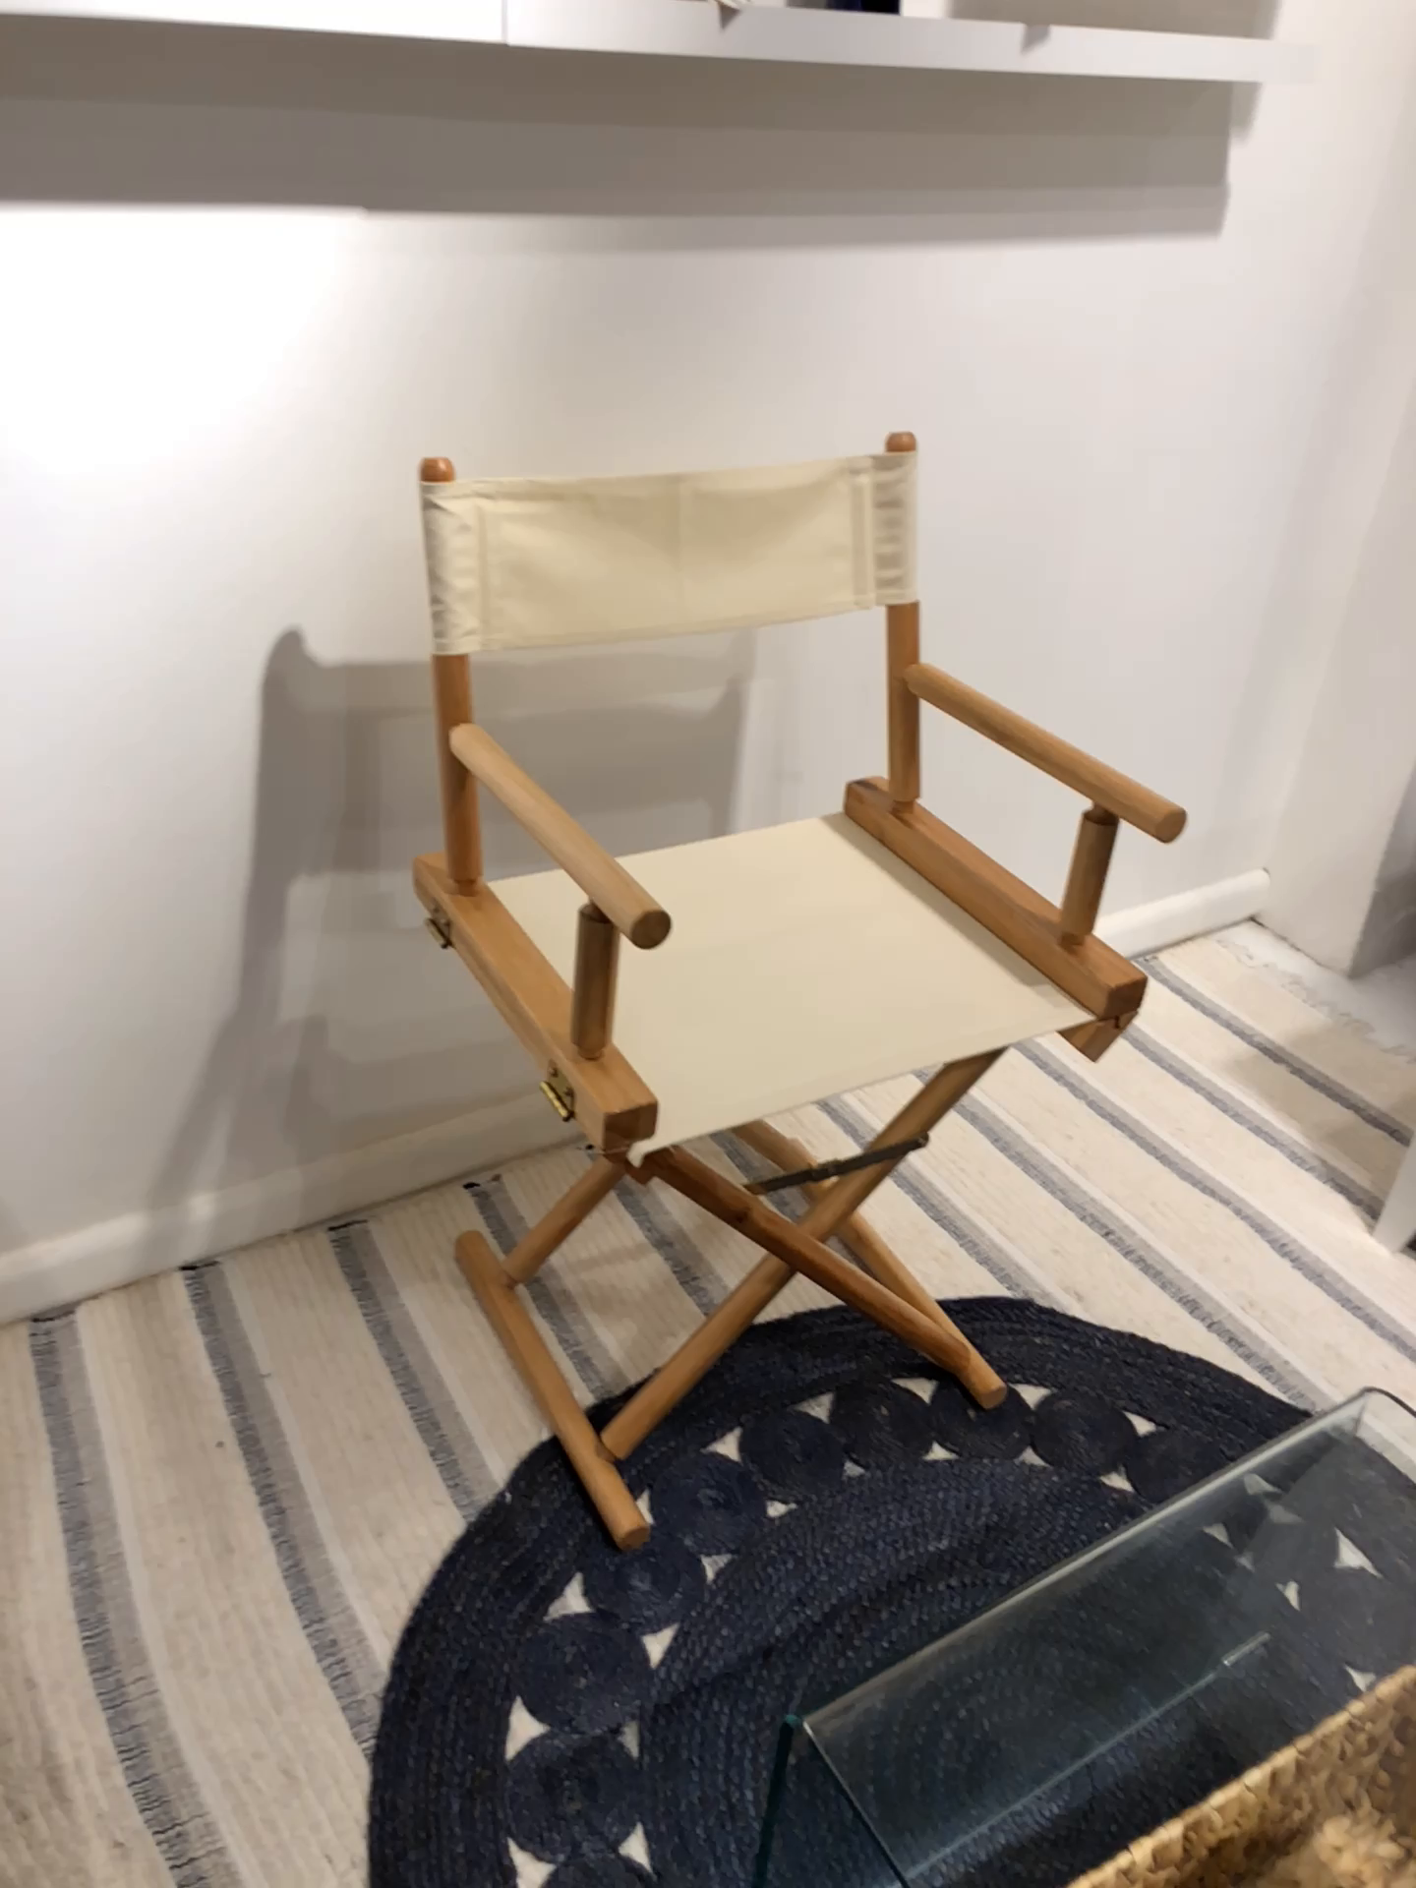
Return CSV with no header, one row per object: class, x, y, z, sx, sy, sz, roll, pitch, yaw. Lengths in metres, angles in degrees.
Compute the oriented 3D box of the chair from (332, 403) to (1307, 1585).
chair,0.030,0.000,1.407,0.542,0.794,0.563,-13,36,-27
